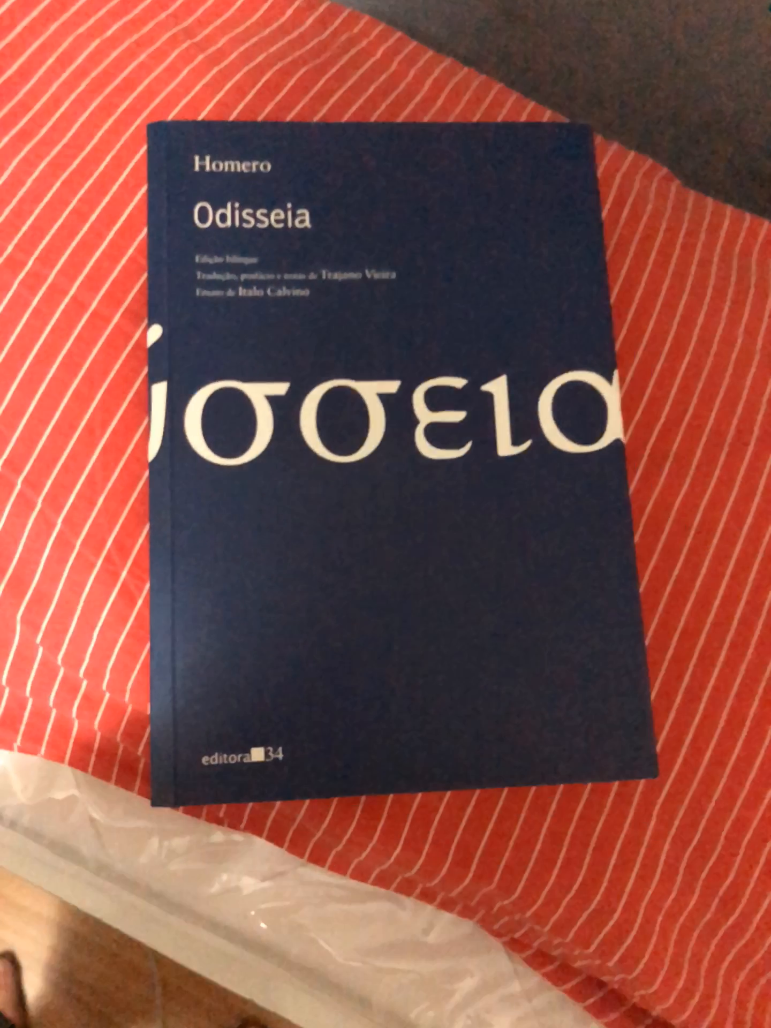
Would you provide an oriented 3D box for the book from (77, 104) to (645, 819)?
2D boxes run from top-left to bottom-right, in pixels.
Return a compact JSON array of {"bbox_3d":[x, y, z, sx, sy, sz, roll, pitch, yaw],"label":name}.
[{"bbox_3d":[-0.013,-0.024,0.298,0.170,0.040,0.230,-3,80,-3],"label":"book"}]
